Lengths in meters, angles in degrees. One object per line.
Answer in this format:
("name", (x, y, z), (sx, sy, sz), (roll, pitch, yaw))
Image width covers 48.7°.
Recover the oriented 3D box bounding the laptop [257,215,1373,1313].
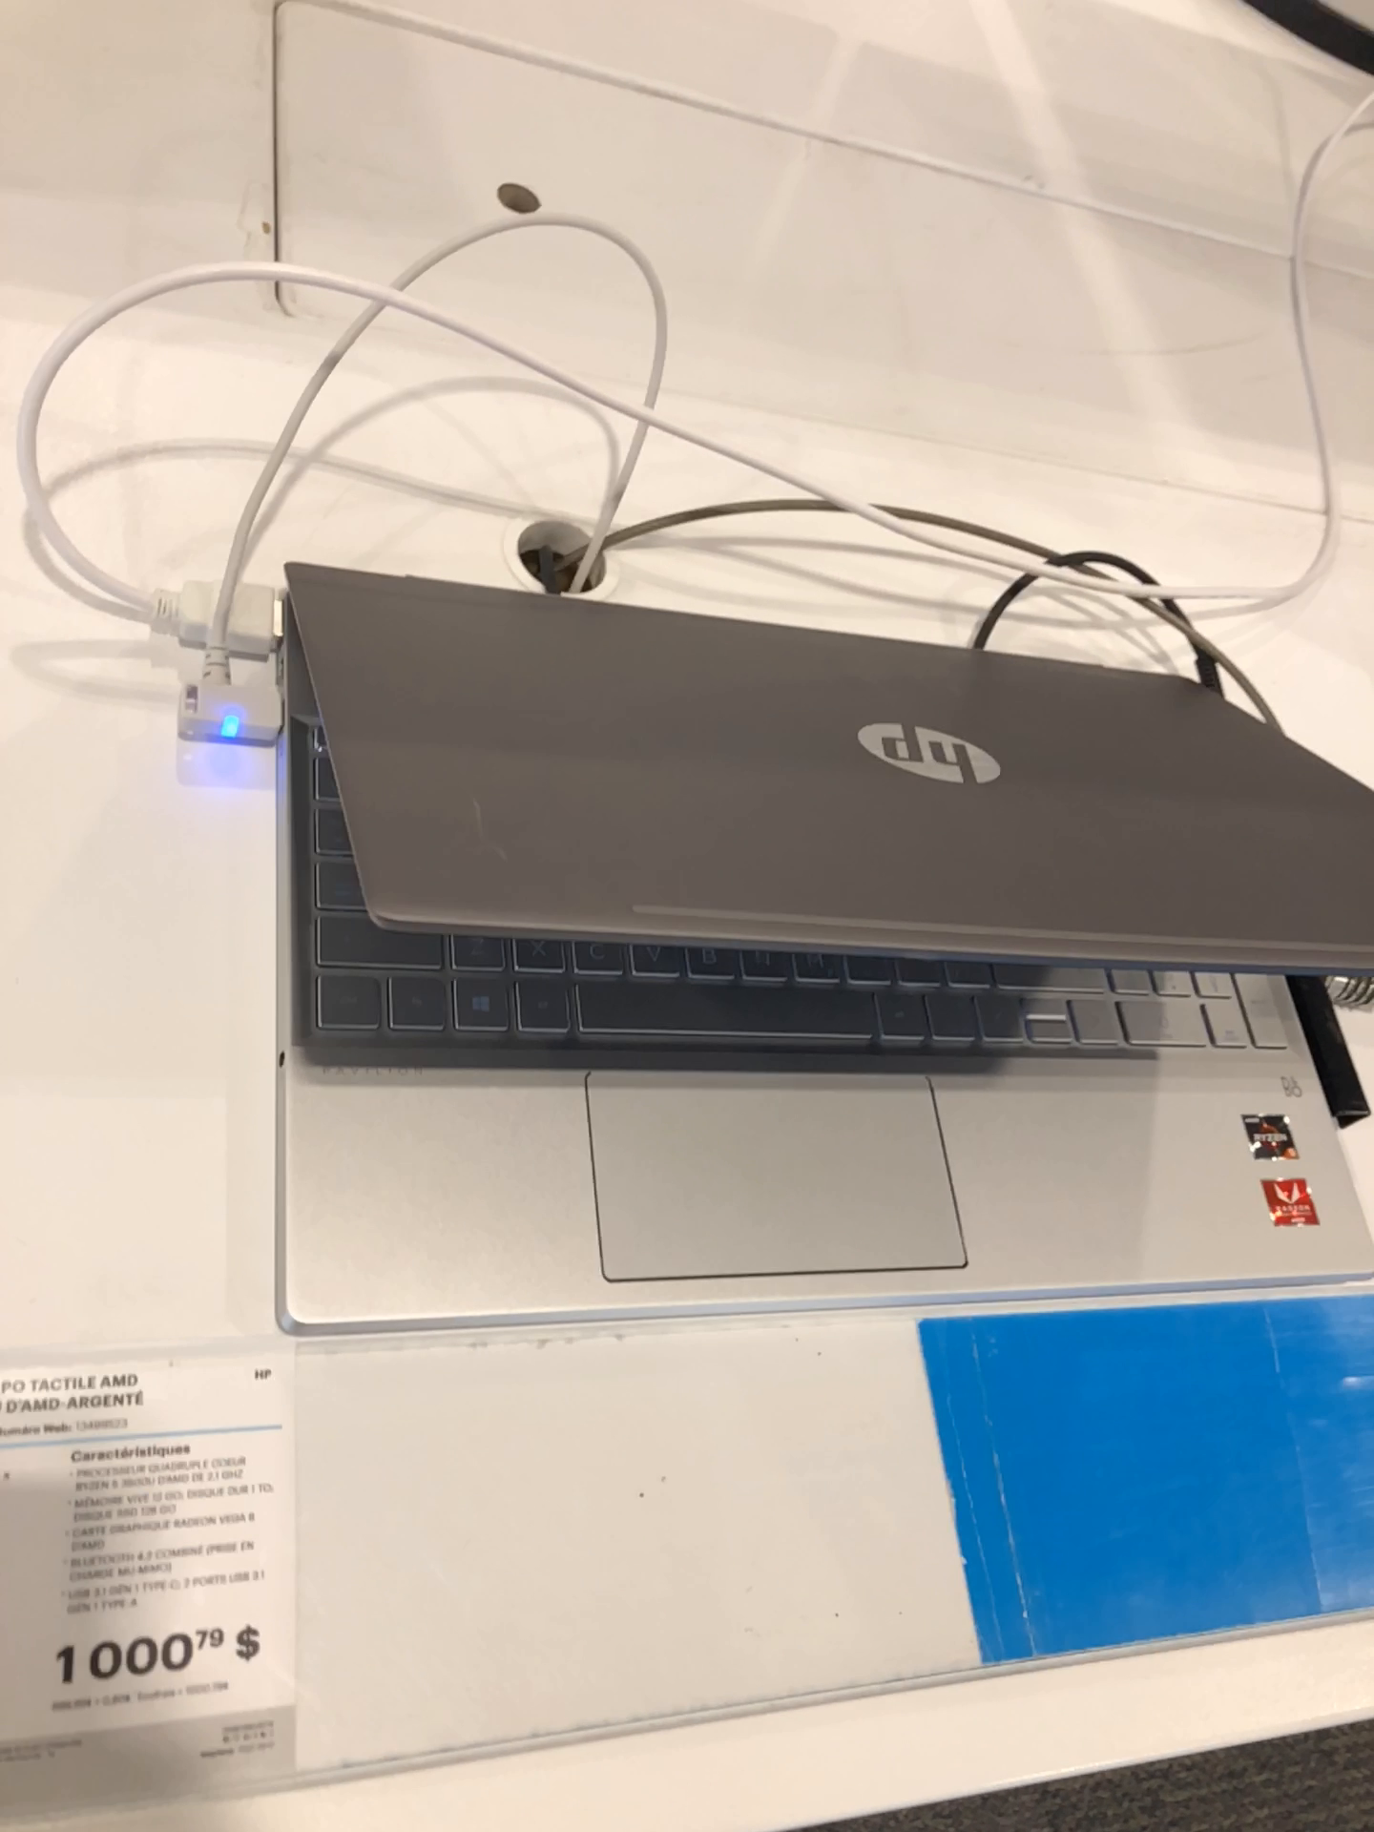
("laptop", (0.069, -0.027, 0.429), (0.350, 0.134, 0.231), (3, 61, -21))
